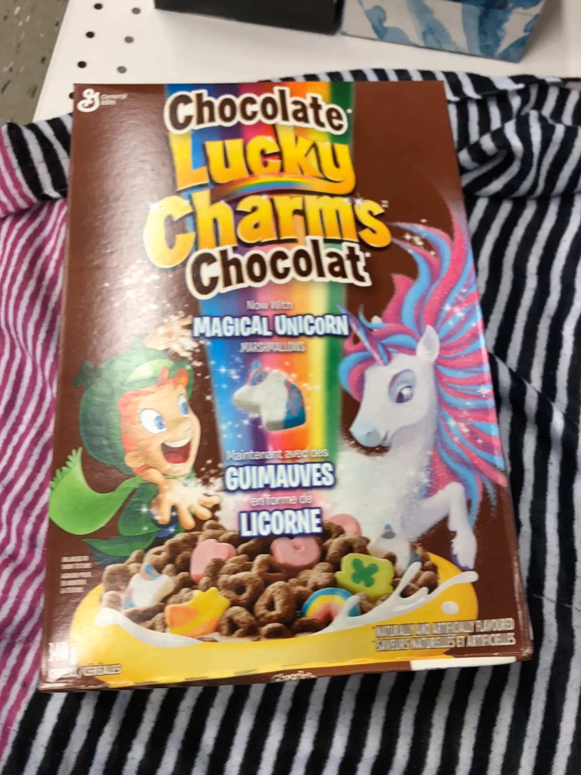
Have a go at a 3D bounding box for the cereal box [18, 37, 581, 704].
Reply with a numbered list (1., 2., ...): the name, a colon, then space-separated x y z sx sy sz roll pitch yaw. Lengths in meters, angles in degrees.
1. cereal box: -0.003 -0.022 0.309 0.210 0.060 0.290 -2 75 -4
